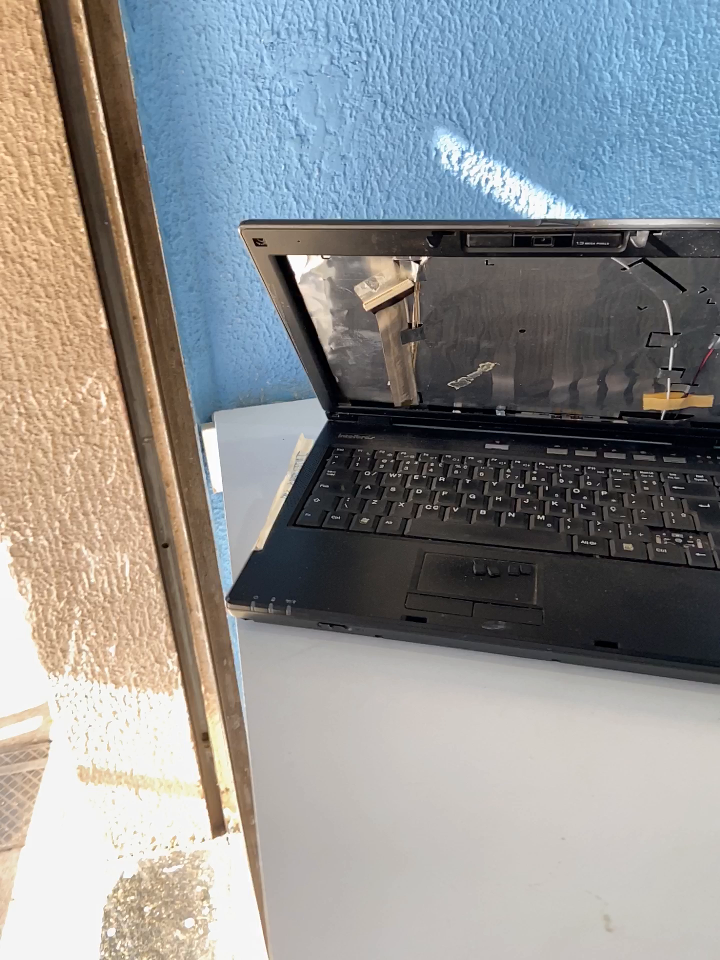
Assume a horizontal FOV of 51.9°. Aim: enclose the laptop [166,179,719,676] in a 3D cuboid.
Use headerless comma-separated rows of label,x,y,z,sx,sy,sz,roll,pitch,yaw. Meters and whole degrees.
laptop,0.101,-0.059,0.445,0.322,0.191,0.232,5,31,12
